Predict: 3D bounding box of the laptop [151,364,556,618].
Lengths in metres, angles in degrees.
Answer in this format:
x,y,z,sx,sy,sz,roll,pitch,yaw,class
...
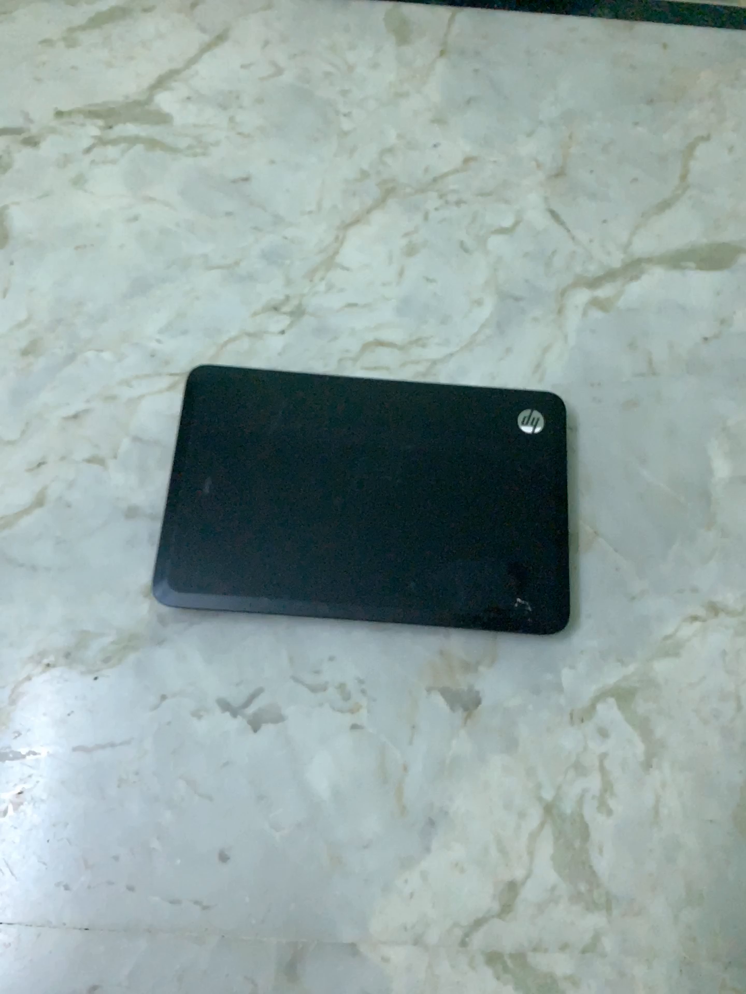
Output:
x,y,z,sx,sy,sz,roll,pitch,yaw,class
-0.010,-0.012,0.688,0.333,0.022,0.222,4,63,0,laptop
